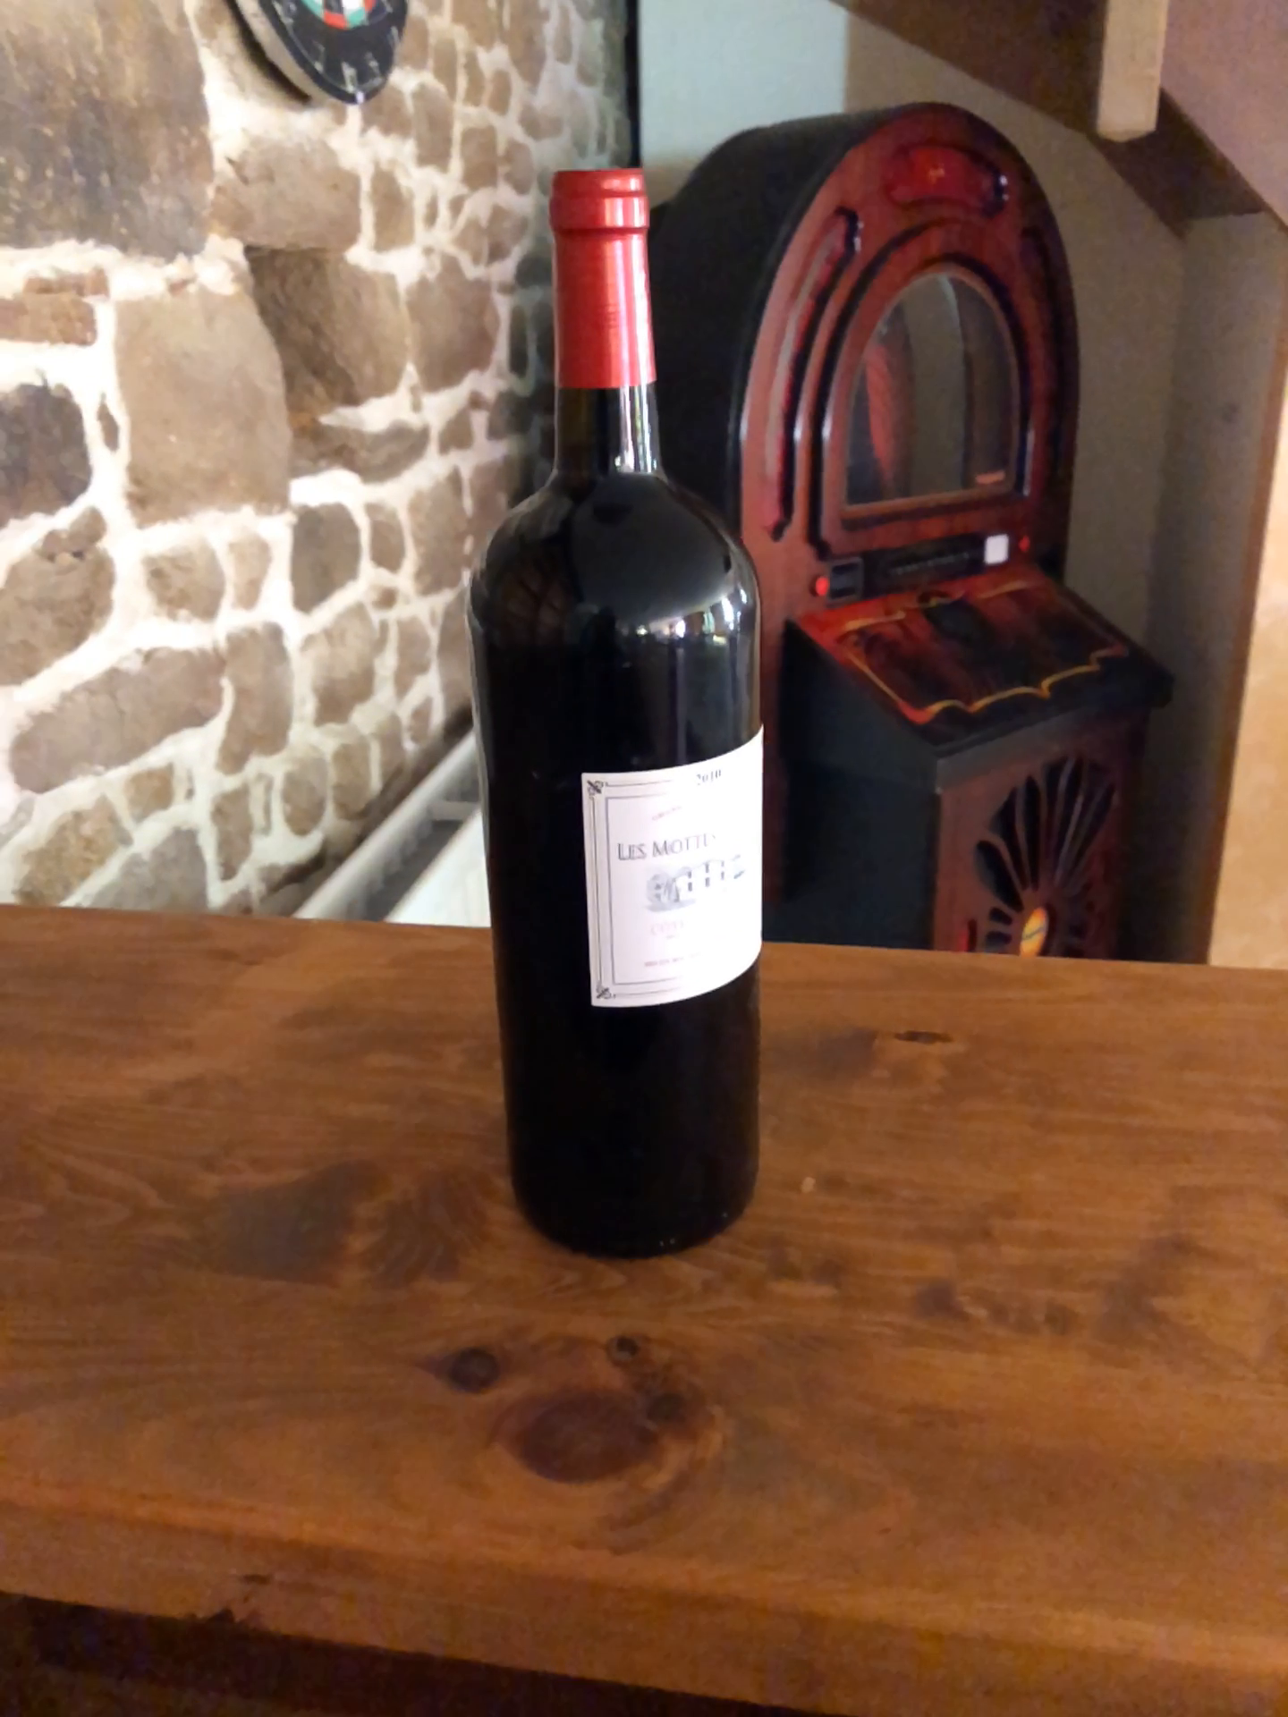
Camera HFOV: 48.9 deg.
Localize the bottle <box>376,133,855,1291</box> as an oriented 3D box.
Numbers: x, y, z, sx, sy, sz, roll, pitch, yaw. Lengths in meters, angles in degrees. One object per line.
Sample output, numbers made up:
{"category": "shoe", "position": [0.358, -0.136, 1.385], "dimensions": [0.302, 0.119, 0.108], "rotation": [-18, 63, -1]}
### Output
{"category": "bottle", "position": [-0.006, -0.043, 0.474], "dimensions": [0.100, 0.348, 0.100], "rotation": [-1, 23, 1]}
